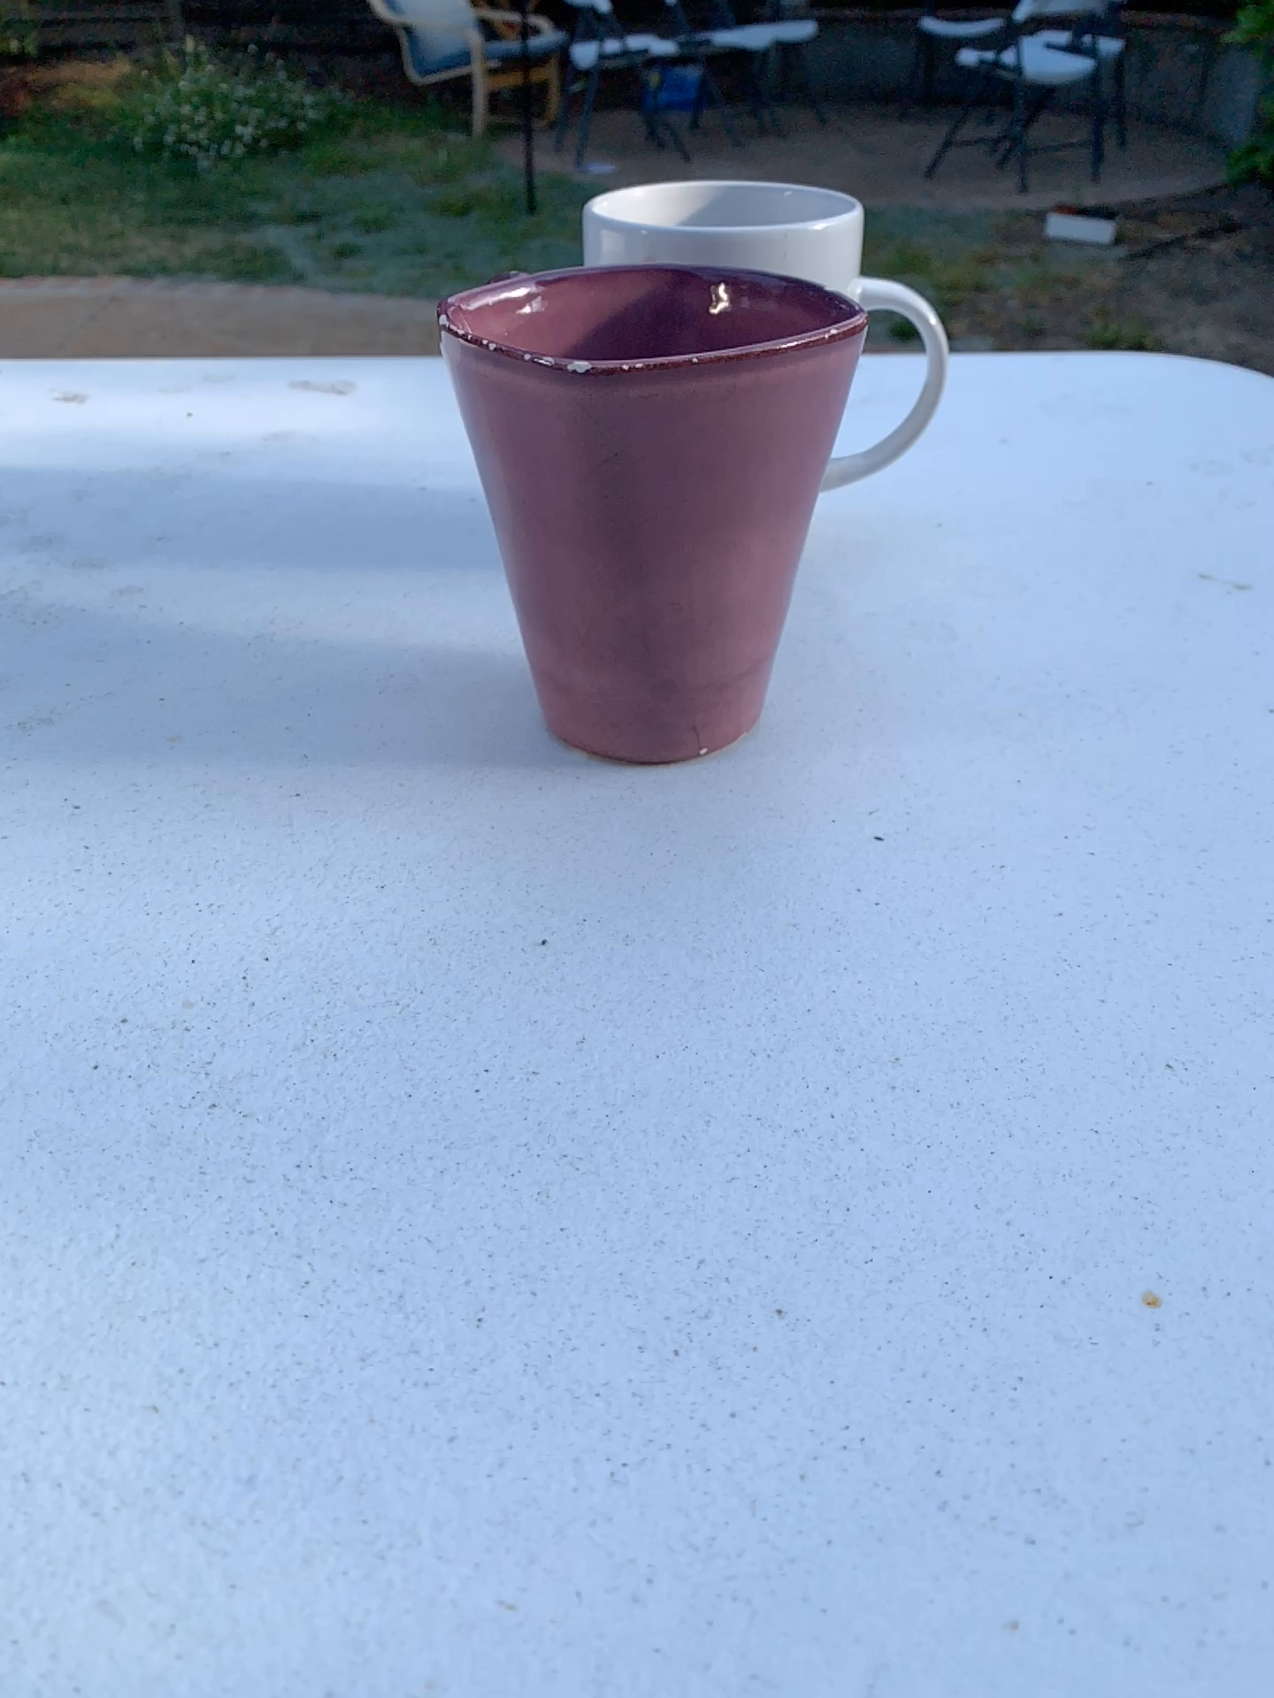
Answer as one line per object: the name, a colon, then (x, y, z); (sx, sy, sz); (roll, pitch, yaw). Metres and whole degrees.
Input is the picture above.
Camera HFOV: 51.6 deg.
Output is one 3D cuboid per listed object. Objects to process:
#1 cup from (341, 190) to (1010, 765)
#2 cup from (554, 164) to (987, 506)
cup: (0.003, -0.103, 0.332); (0.100, 0.089, 0.131); (-20, 40, -26)
cup: (0.041, -0.171, 0.431); (0.120, 0.079, 0.101); (3, 35, 5)
